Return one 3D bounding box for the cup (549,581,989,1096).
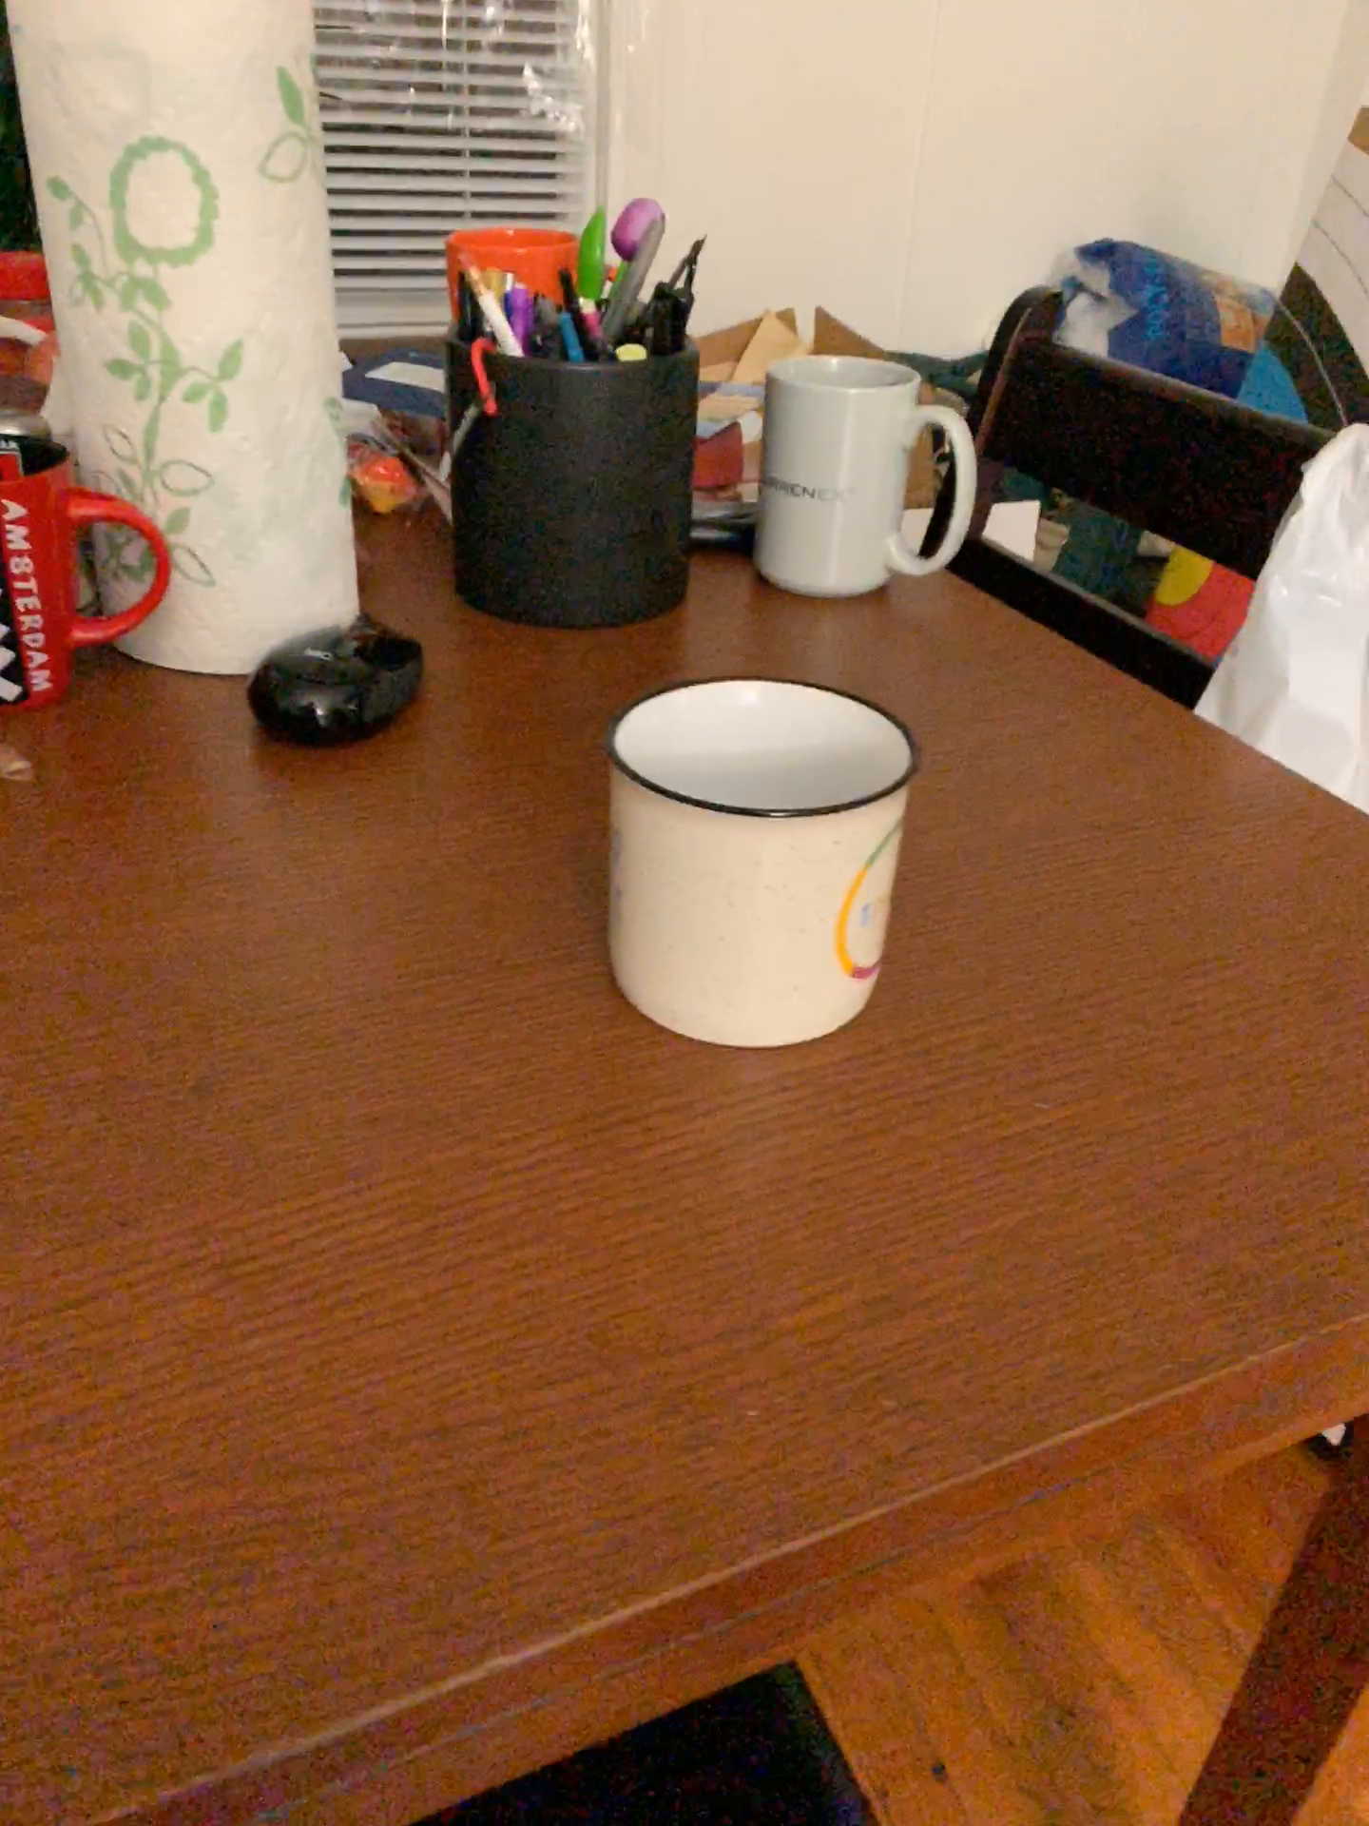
[{"bbox_3d":[0.032,-0.034,0.478,0.100,0.099,0.151,14,34,16],"label":"cup"}]
